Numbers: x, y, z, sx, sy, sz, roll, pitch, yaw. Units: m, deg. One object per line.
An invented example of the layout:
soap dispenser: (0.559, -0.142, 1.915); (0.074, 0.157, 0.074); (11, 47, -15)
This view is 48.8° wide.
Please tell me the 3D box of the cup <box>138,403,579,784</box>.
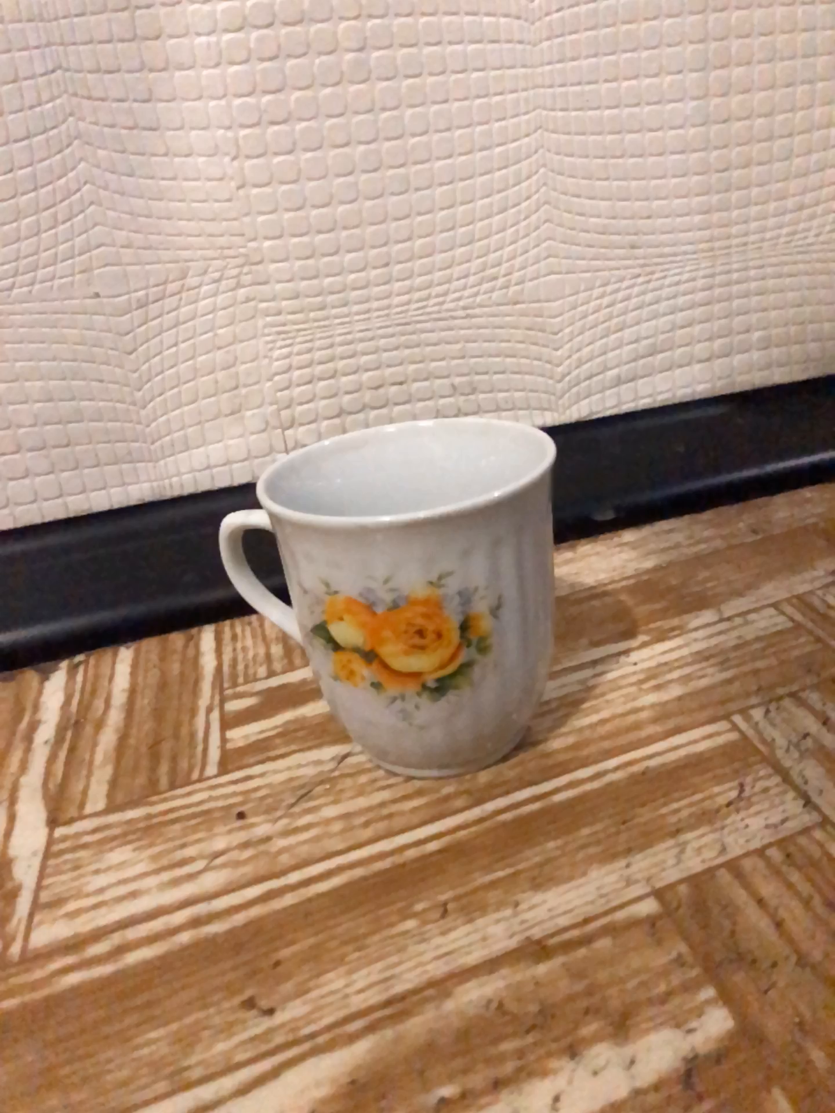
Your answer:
cup: (-0.006, 0.006, 0.260); (0.097, 0.069, 0.095); (-6, 22, 3)
